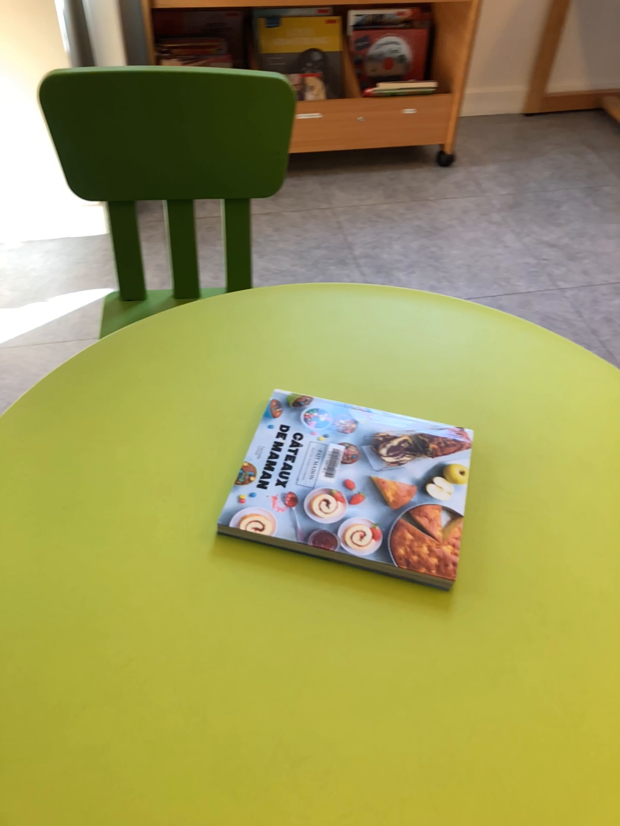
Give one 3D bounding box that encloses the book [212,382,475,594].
[{"bbox_3d":[0.044,0.064,0.689,0.228,0.021,0.201,12,46,8],"label":"book"}]
